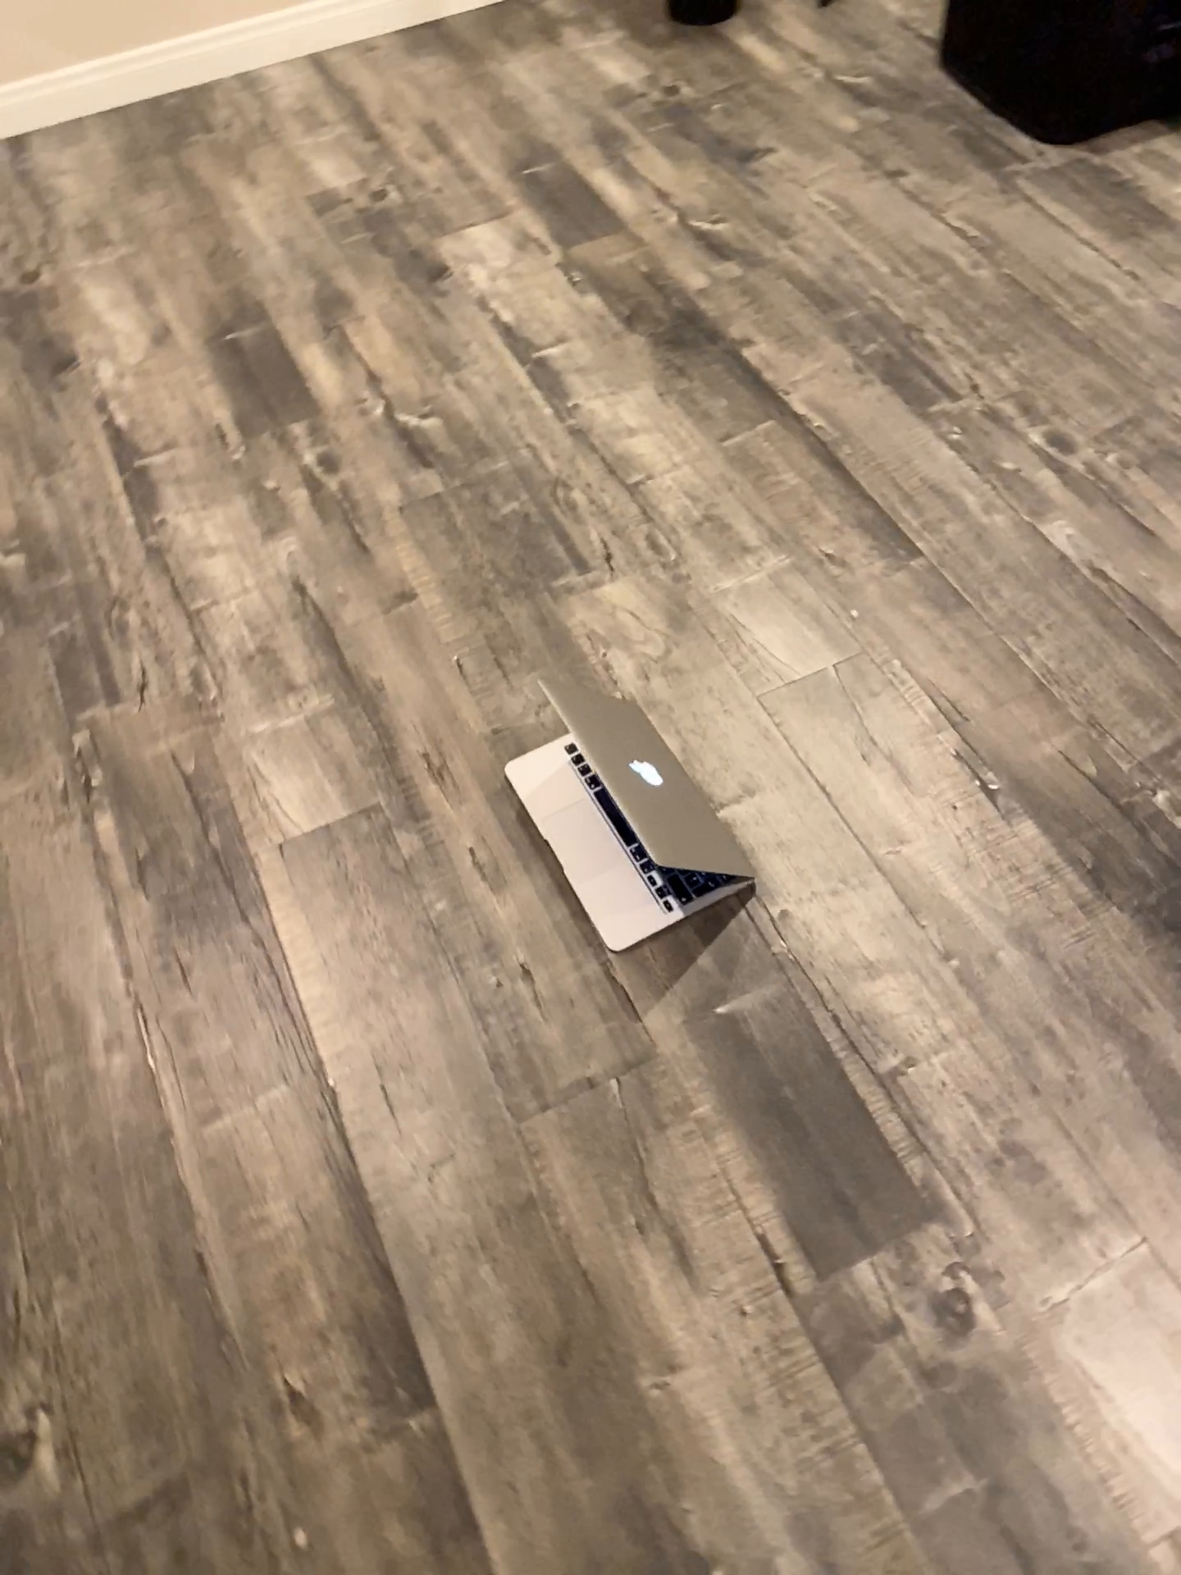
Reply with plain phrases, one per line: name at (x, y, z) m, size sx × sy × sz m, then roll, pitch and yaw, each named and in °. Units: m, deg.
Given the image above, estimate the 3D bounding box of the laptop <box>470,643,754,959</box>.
laptop at (0.021, 0.008, 1.362) m, size 0.193 × 0.132 × 0.292 m, roll -25°, pitch 56°, yaw -14°
